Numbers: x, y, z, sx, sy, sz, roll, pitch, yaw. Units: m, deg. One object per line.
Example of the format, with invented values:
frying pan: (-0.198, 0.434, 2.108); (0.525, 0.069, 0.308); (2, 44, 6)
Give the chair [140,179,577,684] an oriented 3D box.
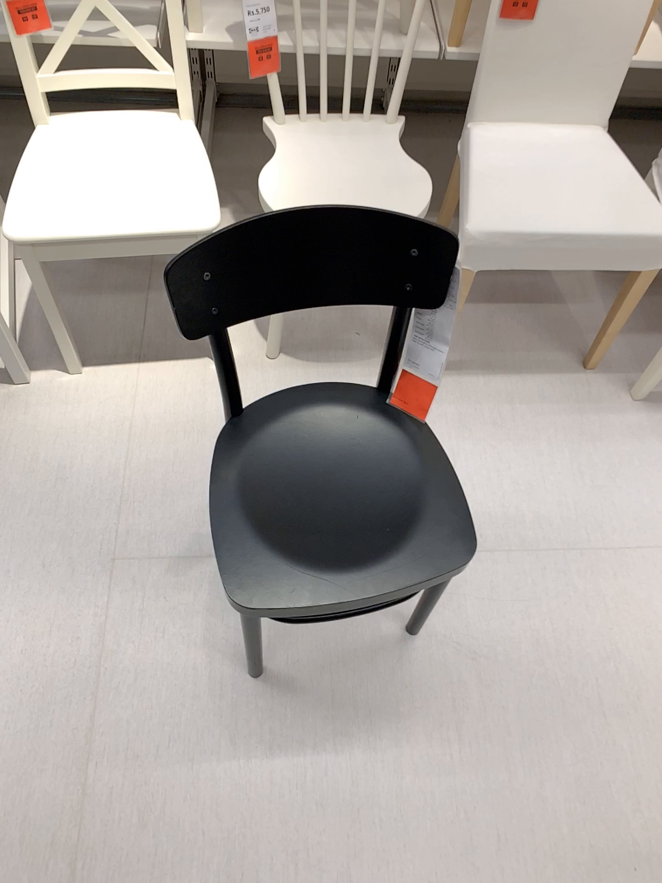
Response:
chair: (-0.015, 0.049, 1.160); (0.430, 0.769, 0.471); (-11, 61, -11)
